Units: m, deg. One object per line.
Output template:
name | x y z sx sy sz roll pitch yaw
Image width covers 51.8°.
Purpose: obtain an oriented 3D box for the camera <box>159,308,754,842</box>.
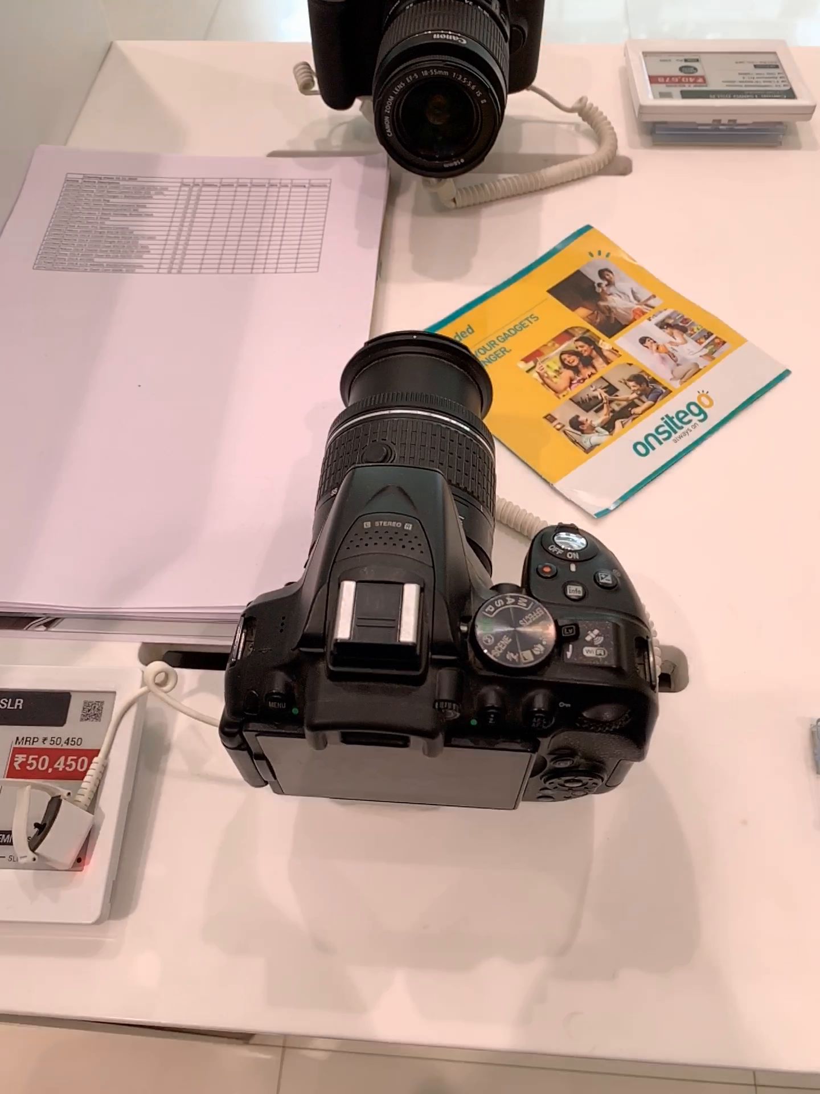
camera | 0.014 0.011 0.237 0.118 0.100 0.107 3 58 4
